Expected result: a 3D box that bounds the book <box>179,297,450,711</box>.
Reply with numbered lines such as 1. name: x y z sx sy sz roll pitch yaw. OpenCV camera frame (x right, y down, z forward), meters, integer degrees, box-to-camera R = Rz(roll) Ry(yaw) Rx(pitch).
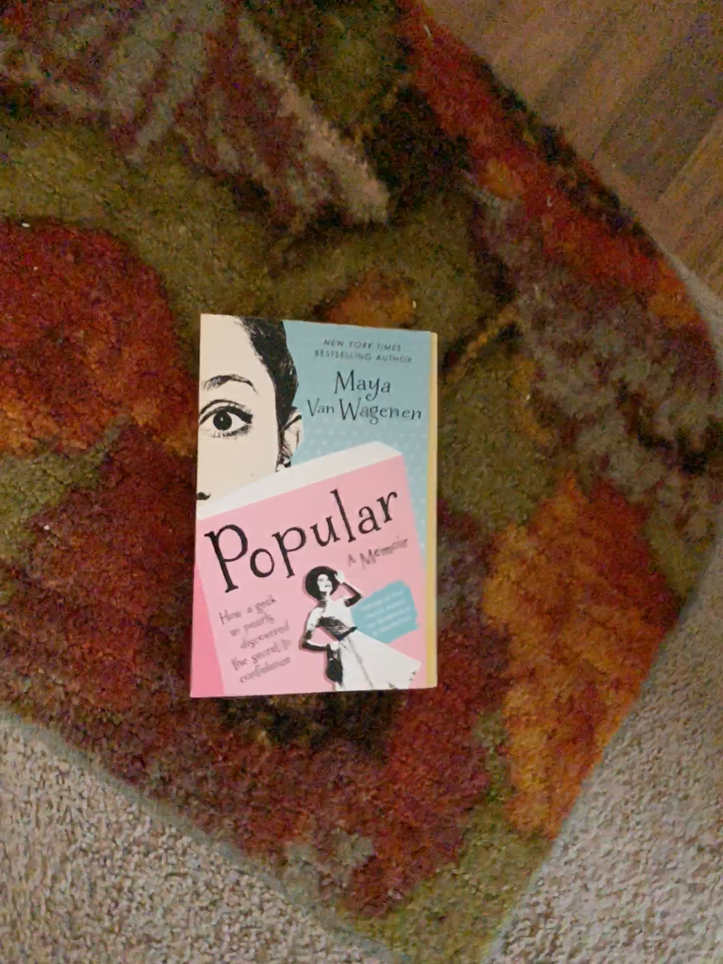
1. book: -0.025 0.012 0.429 0.150 0.030 0.220 1 86 -14
